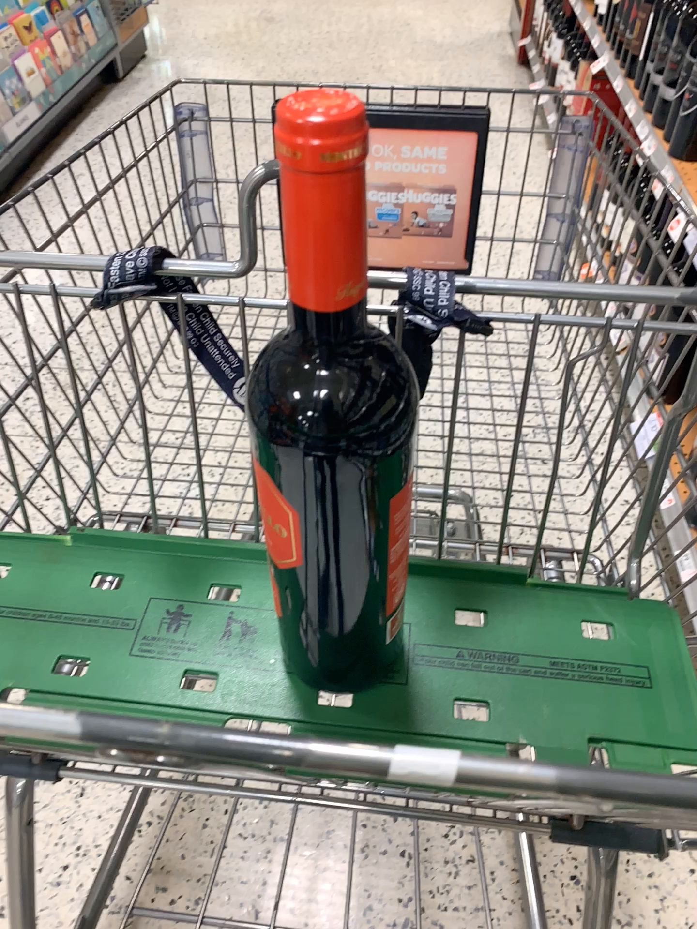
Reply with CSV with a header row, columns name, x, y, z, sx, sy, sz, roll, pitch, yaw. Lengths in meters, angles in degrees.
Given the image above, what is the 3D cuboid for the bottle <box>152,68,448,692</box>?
name,x,y,z,sx,sy,sz,roll,pitch,yaw
bottle,-0.011,-0.005,0.327,0.080,0.297,0.081,-1,45,1
